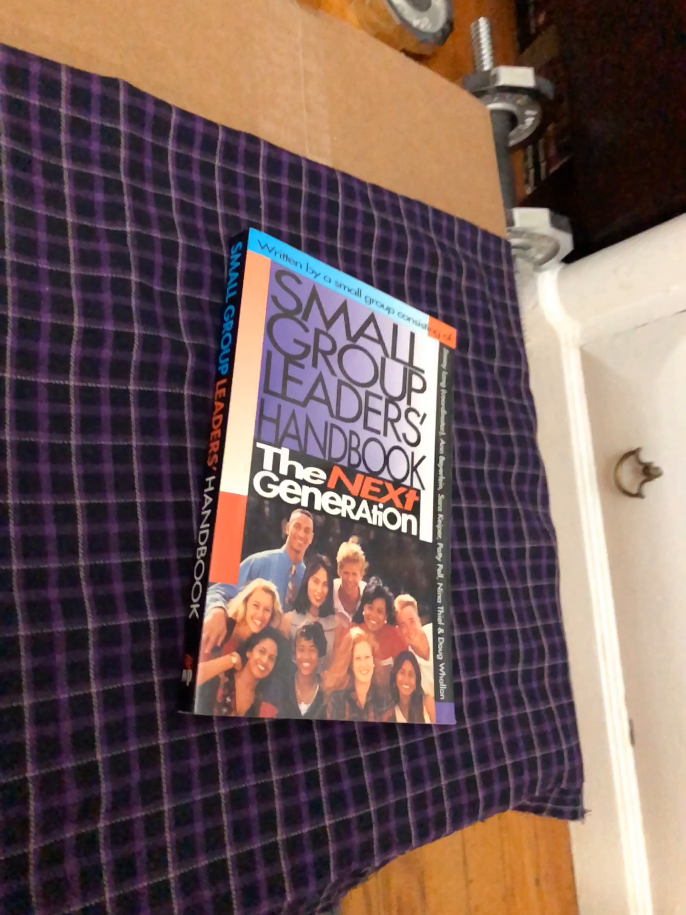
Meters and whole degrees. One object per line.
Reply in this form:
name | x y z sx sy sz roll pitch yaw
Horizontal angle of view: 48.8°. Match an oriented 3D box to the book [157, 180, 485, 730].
book | 0.002 0.006 0.347 0.150 0.030 0.220 15 69 -37
